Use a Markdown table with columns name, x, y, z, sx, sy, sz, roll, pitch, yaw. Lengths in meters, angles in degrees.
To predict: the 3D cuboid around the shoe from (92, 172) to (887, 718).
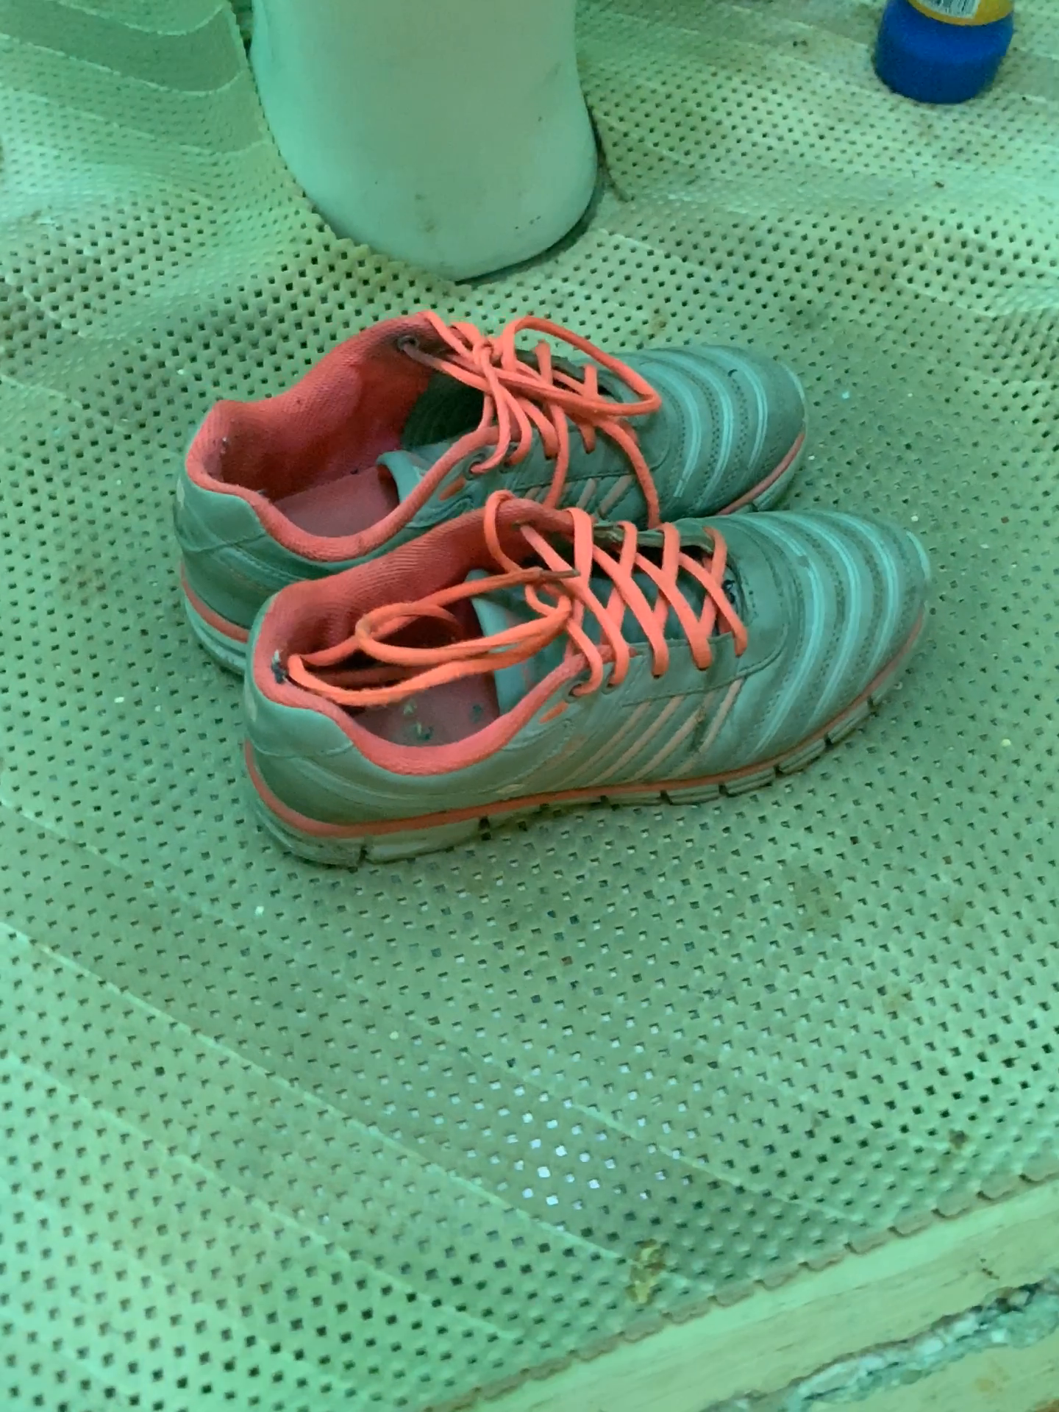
| name | x | y | z | sx | sy | sz | roll | pitch | yaw |
| --- | --- | --- | --- | --- | --- | --- | --- | --- | --- |
| shoe | -0.015 | -0.106 | 0.440 | 0.270 | 0.090 | 0.110 | -20 | 65 | -8 |

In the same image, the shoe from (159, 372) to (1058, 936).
| name | x | y | z | sx | sy | sz | roll | pitch | yaw |
| --- | --- | --- | --- | --- | --- | --- | --- | --- | --- |
| shoe | 0.023 | -0.018 | 0.388 | 0.268 | 0.090 | 0.110 | -14 | 64 | -6 |
